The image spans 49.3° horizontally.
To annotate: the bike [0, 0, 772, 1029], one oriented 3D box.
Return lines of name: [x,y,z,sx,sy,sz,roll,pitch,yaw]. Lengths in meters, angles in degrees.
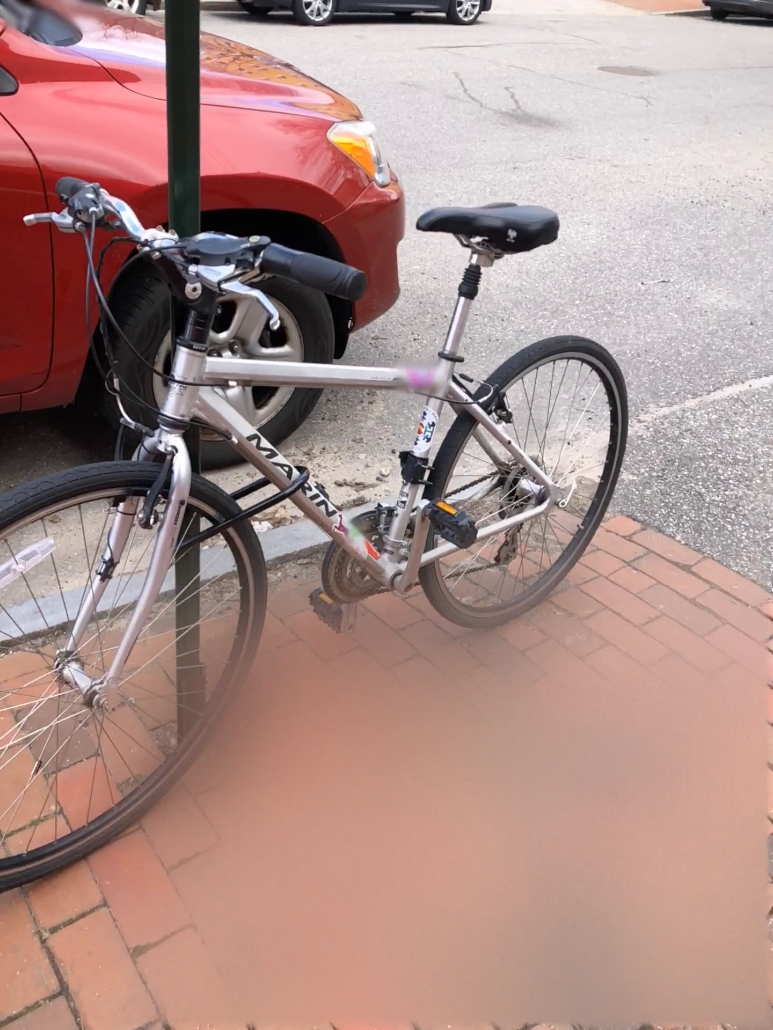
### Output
bike: [-0.114,-0.130,1.347,1.564,1.010,0.610,-20,43,-40]
